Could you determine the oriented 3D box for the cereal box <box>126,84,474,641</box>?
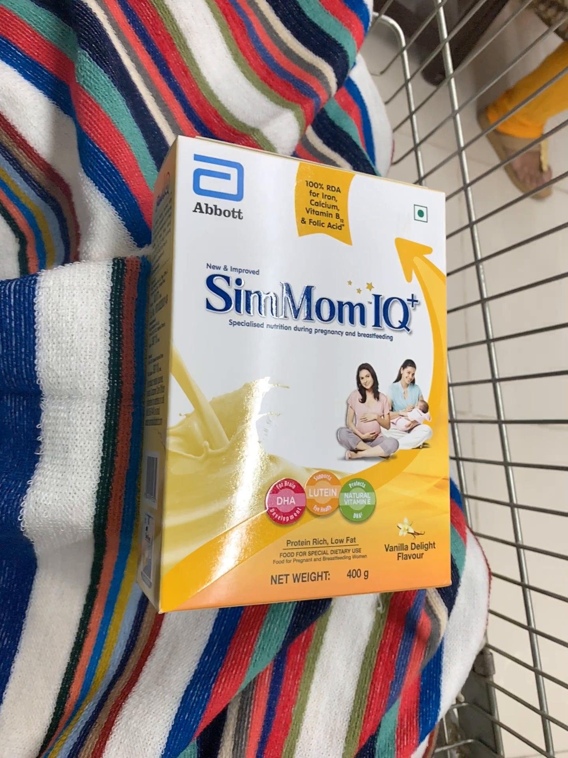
[{"bbox_3d":[0.011,-0.004,0.260,0.140,0.050,0.200,4,84,-23],"label":"cereal box"}]
